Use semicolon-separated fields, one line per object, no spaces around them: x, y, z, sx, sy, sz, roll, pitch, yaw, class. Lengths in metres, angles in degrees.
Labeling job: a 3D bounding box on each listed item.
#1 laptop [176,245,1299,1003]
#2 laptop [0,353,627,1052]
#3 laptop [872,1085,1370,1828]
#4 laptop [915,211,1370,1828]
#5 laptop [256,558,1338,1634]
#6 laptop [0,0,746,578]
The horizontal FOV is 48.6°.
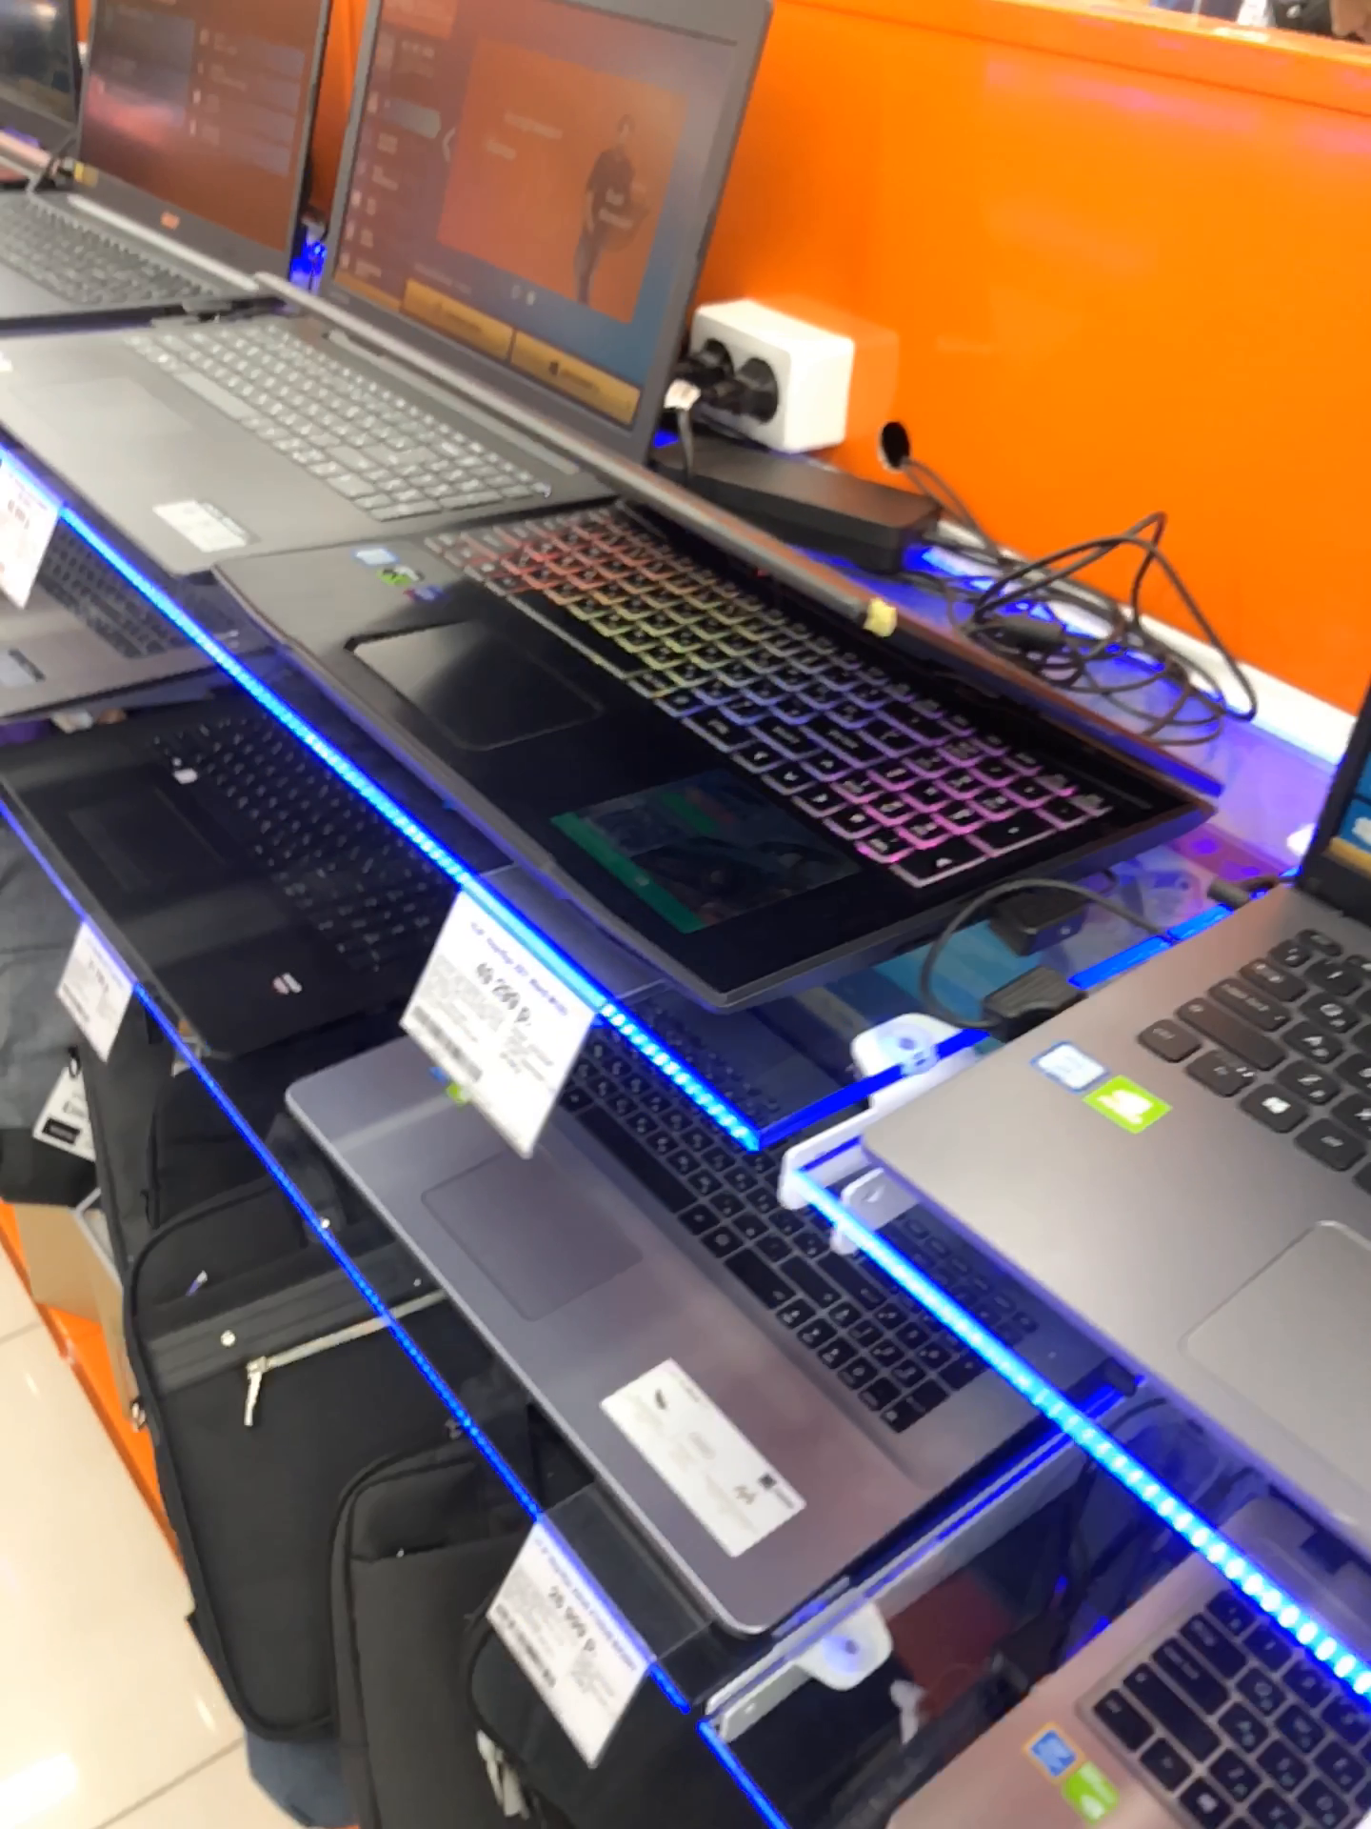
-0.002;-0.151;0.603;0.244;0.121;0.365;-21;43;-33;laptop
-0.280;-0.169;1.005;0.273;0.270;0.407;-19;42;-34;laptop
0.275;0.283;0.426;0.230;0.240;0.360;-21;41;-33;laptop
0.260;0.015;0.315;0.231;0.216;0.352;-24;44;-36;laptop
0.021;0.044;0.743;0.287;0.256;0.395;-21;43;-33;laptop
-0.207;-0.389;0.822;0.319;0.228;0.359;-21;44;-34;laptop
